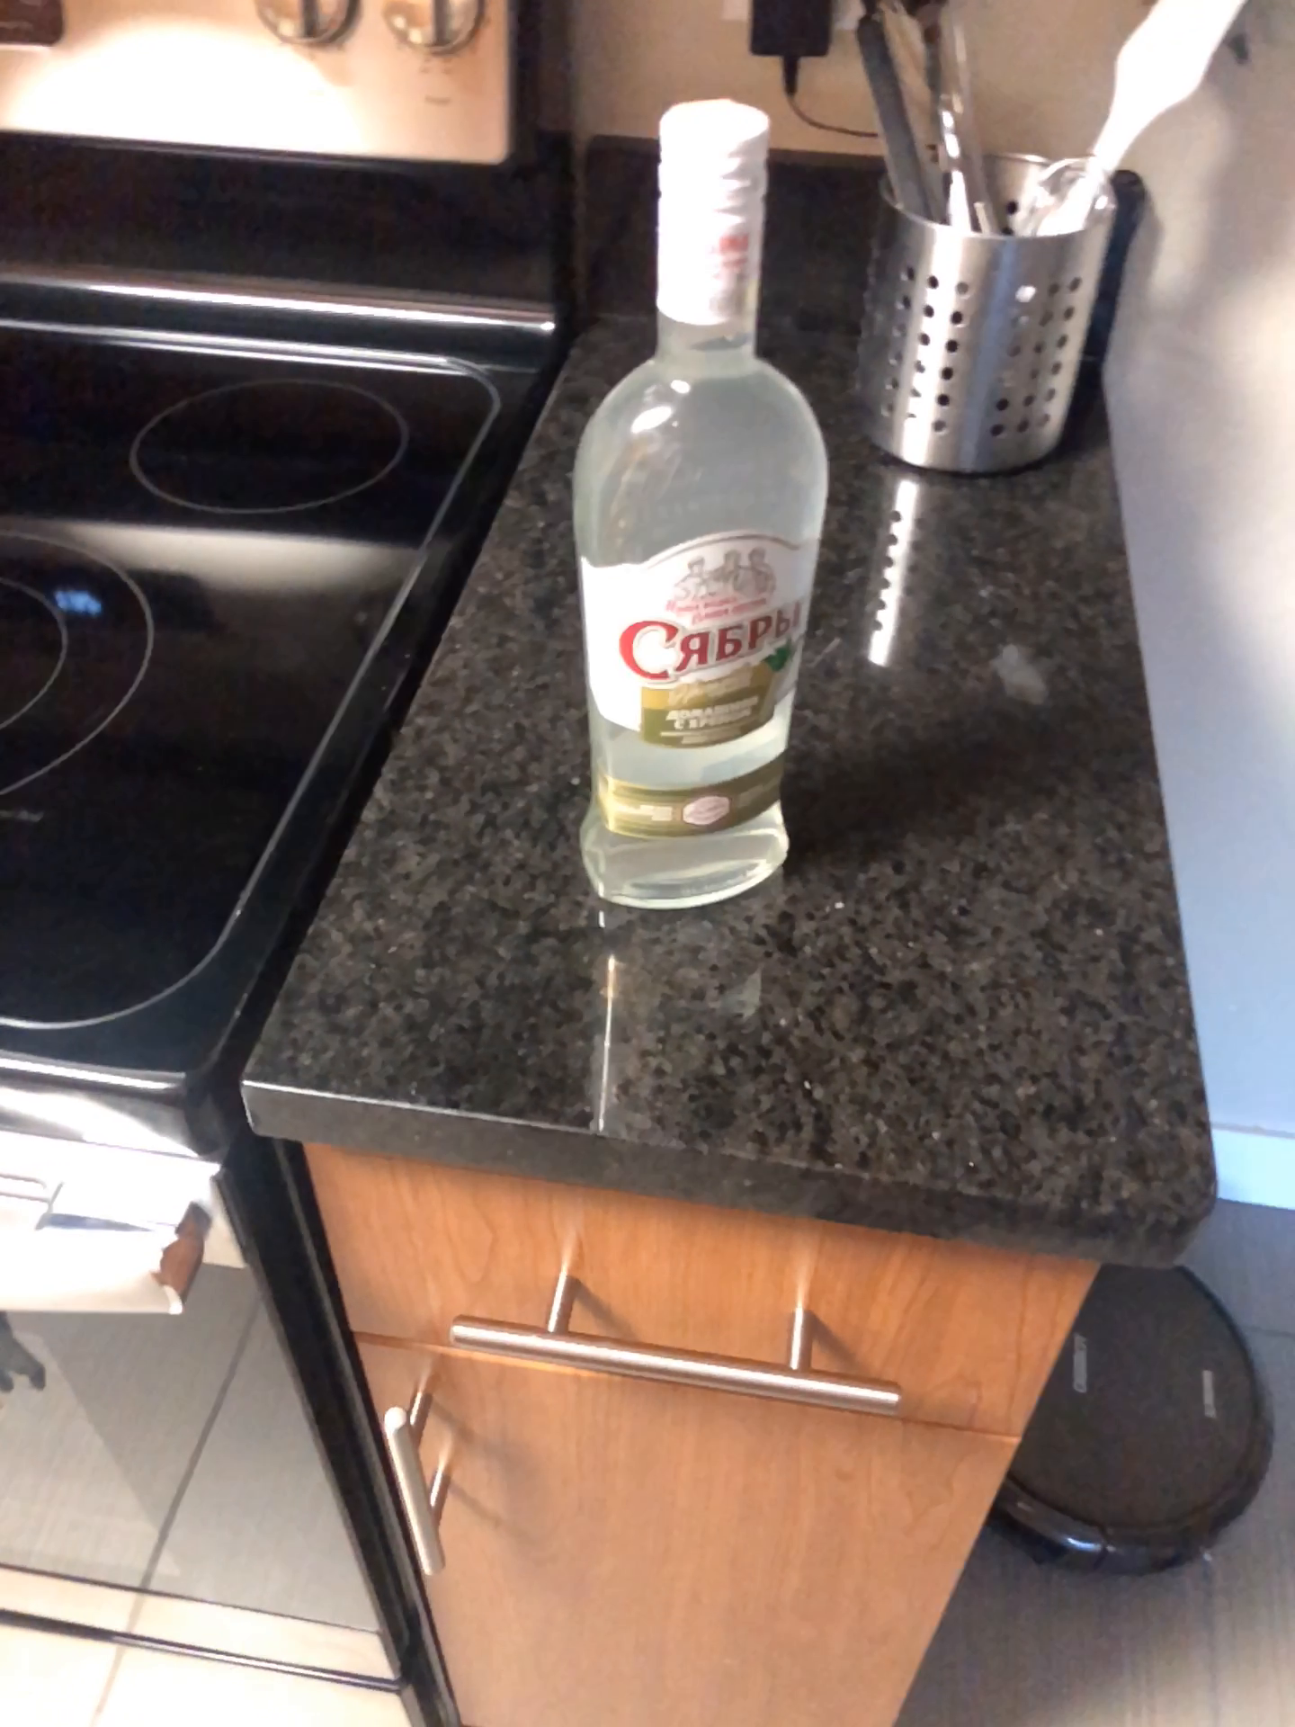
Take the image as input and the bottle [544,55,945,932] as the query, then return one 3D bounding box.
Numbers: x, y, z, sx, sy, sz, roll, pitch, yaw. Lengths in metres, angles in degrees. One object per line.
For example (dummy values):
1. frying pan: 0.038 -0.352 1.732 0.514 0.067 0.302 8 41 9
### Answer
1. bottle: 0.020 -0.098 0.454 0.090 0.269 0.060 -7 45 -8
